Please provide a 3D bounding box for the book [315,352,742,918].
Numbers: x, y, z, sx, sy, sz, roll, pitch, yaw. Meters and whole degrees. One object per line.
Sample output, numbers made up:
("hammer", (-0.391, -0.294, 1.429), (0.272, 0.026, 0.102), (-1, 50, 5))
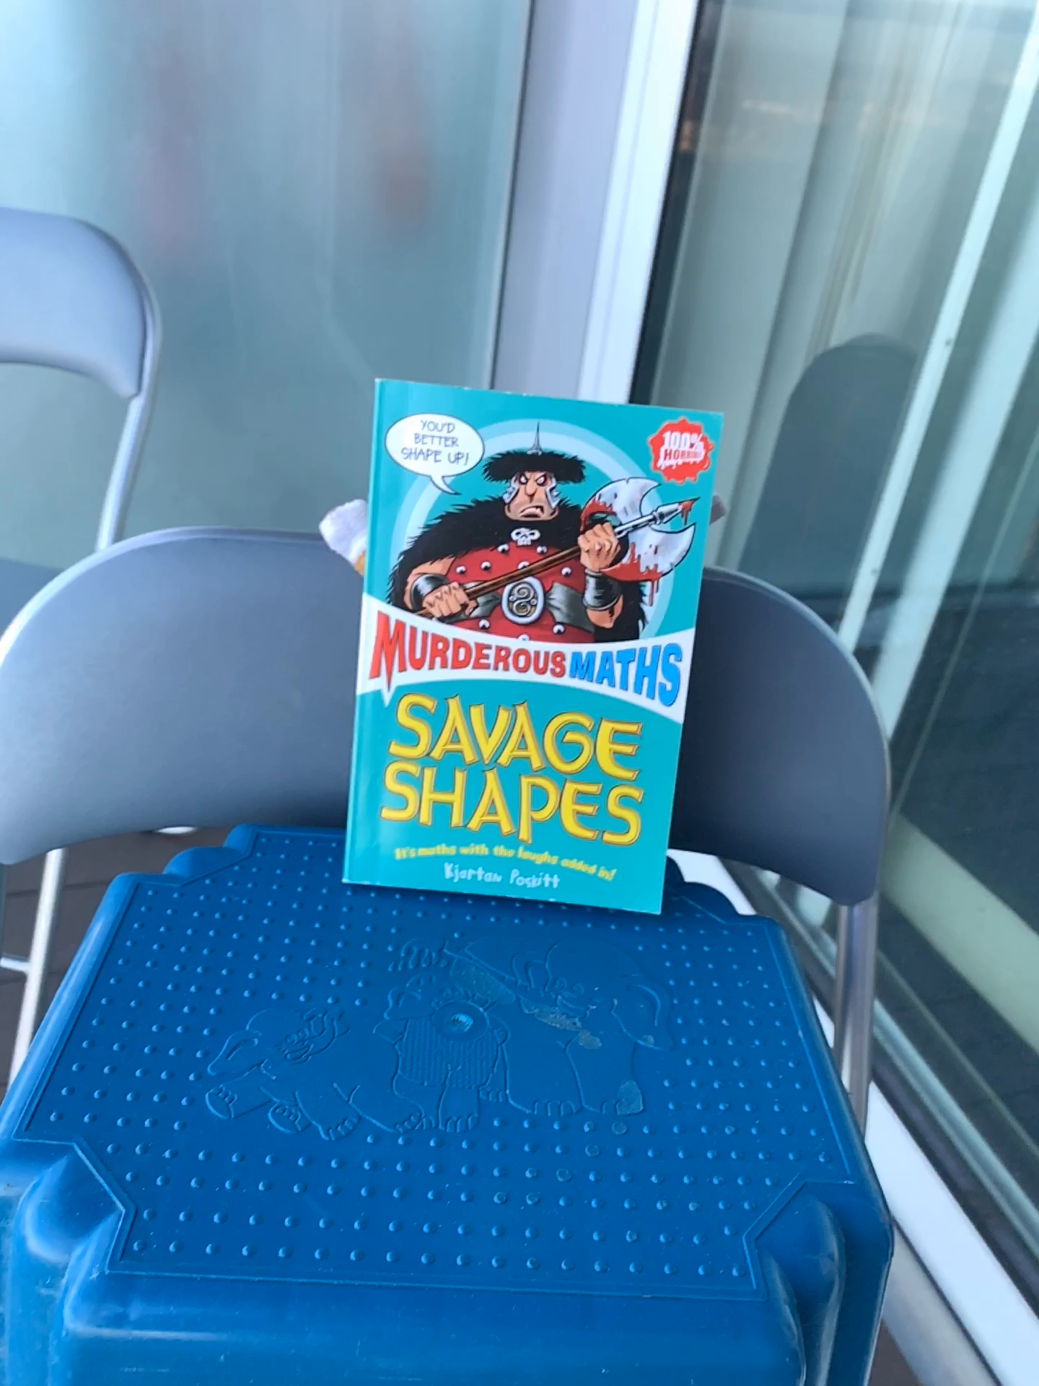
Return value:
("book", (0.000, -0.018, 0.405), (0.133, 0.193, 0.029), (6, 11, -3))
